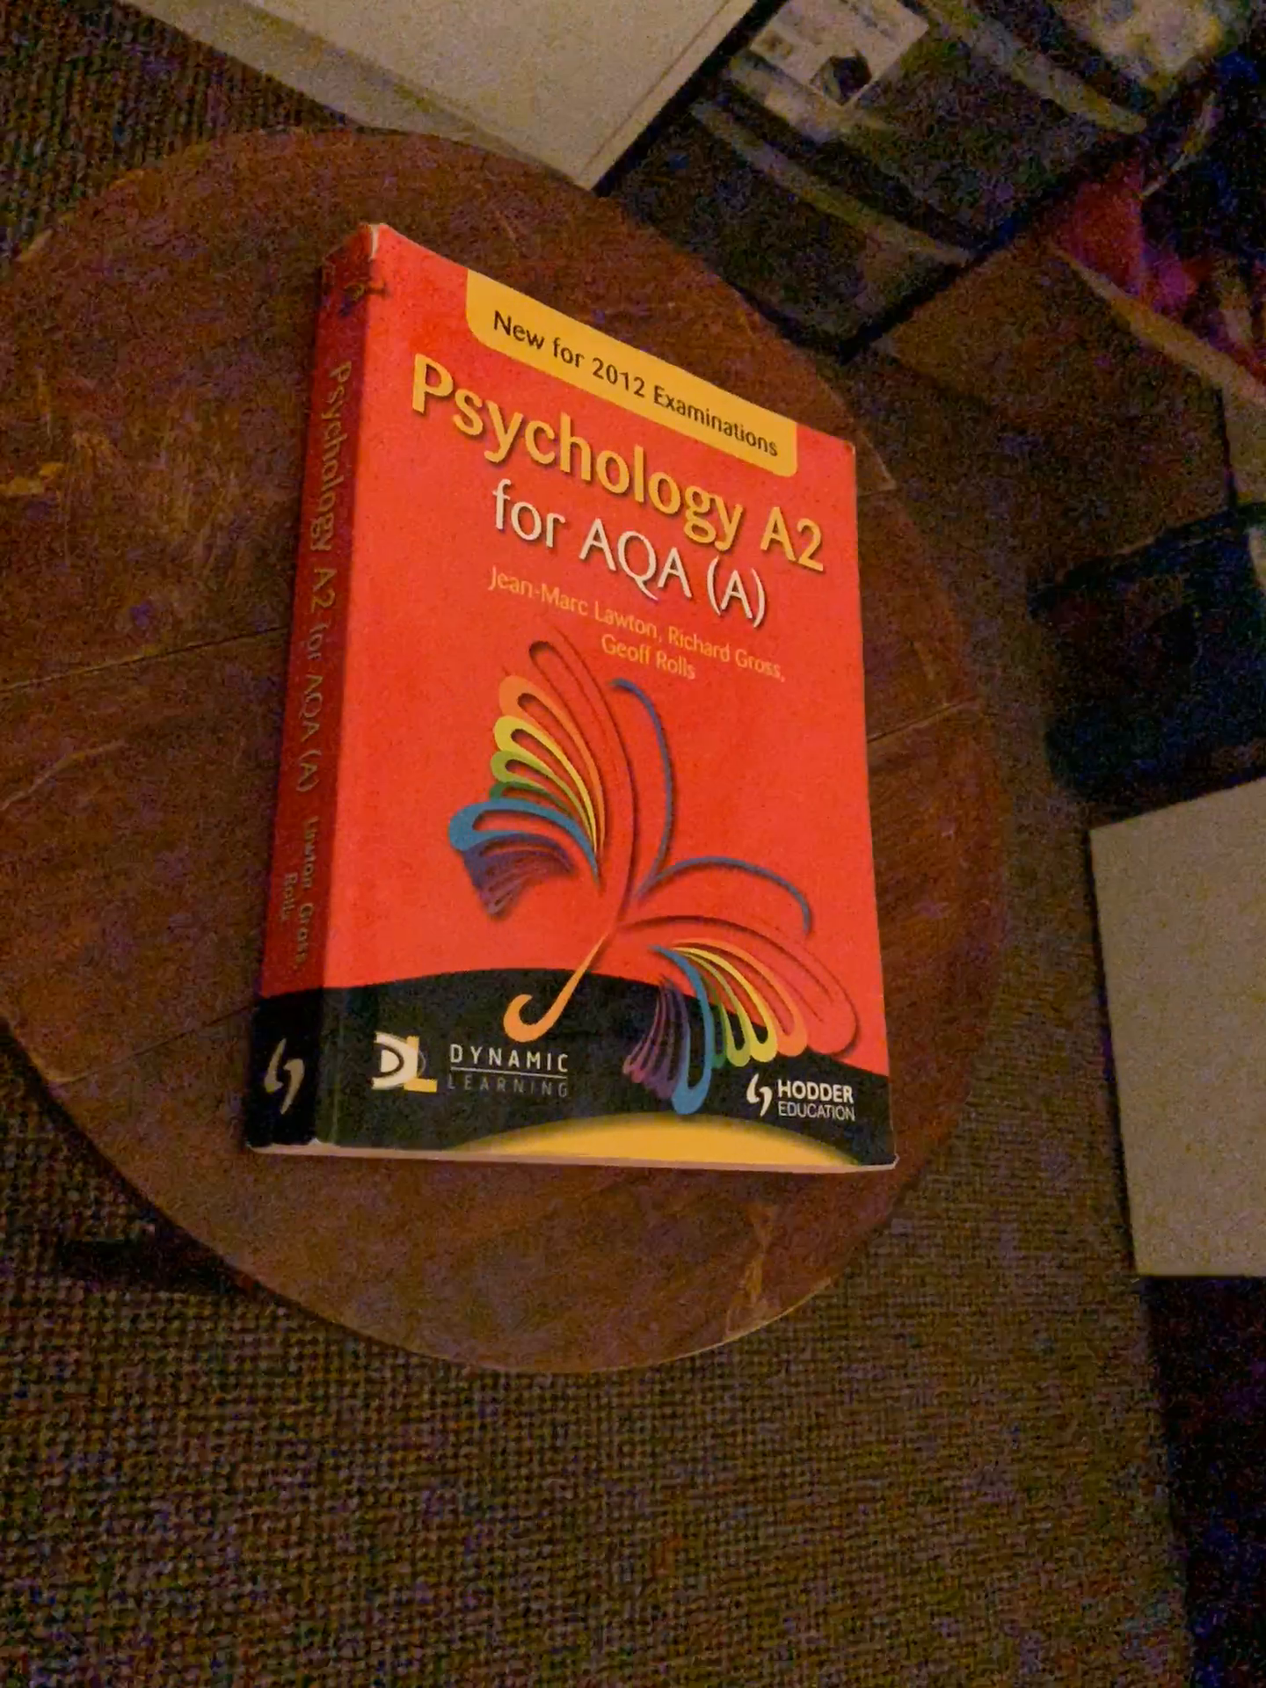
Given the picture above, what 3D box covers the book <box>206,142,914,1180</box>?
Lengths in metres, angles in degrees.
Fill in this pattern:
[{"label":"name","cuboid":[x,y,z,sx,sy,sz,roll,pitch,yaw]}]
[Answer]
[{"label":"book","cuboid":[-0.010,-0.047,0.413,0.211,0.040,0.291,12,68,-33]}]
